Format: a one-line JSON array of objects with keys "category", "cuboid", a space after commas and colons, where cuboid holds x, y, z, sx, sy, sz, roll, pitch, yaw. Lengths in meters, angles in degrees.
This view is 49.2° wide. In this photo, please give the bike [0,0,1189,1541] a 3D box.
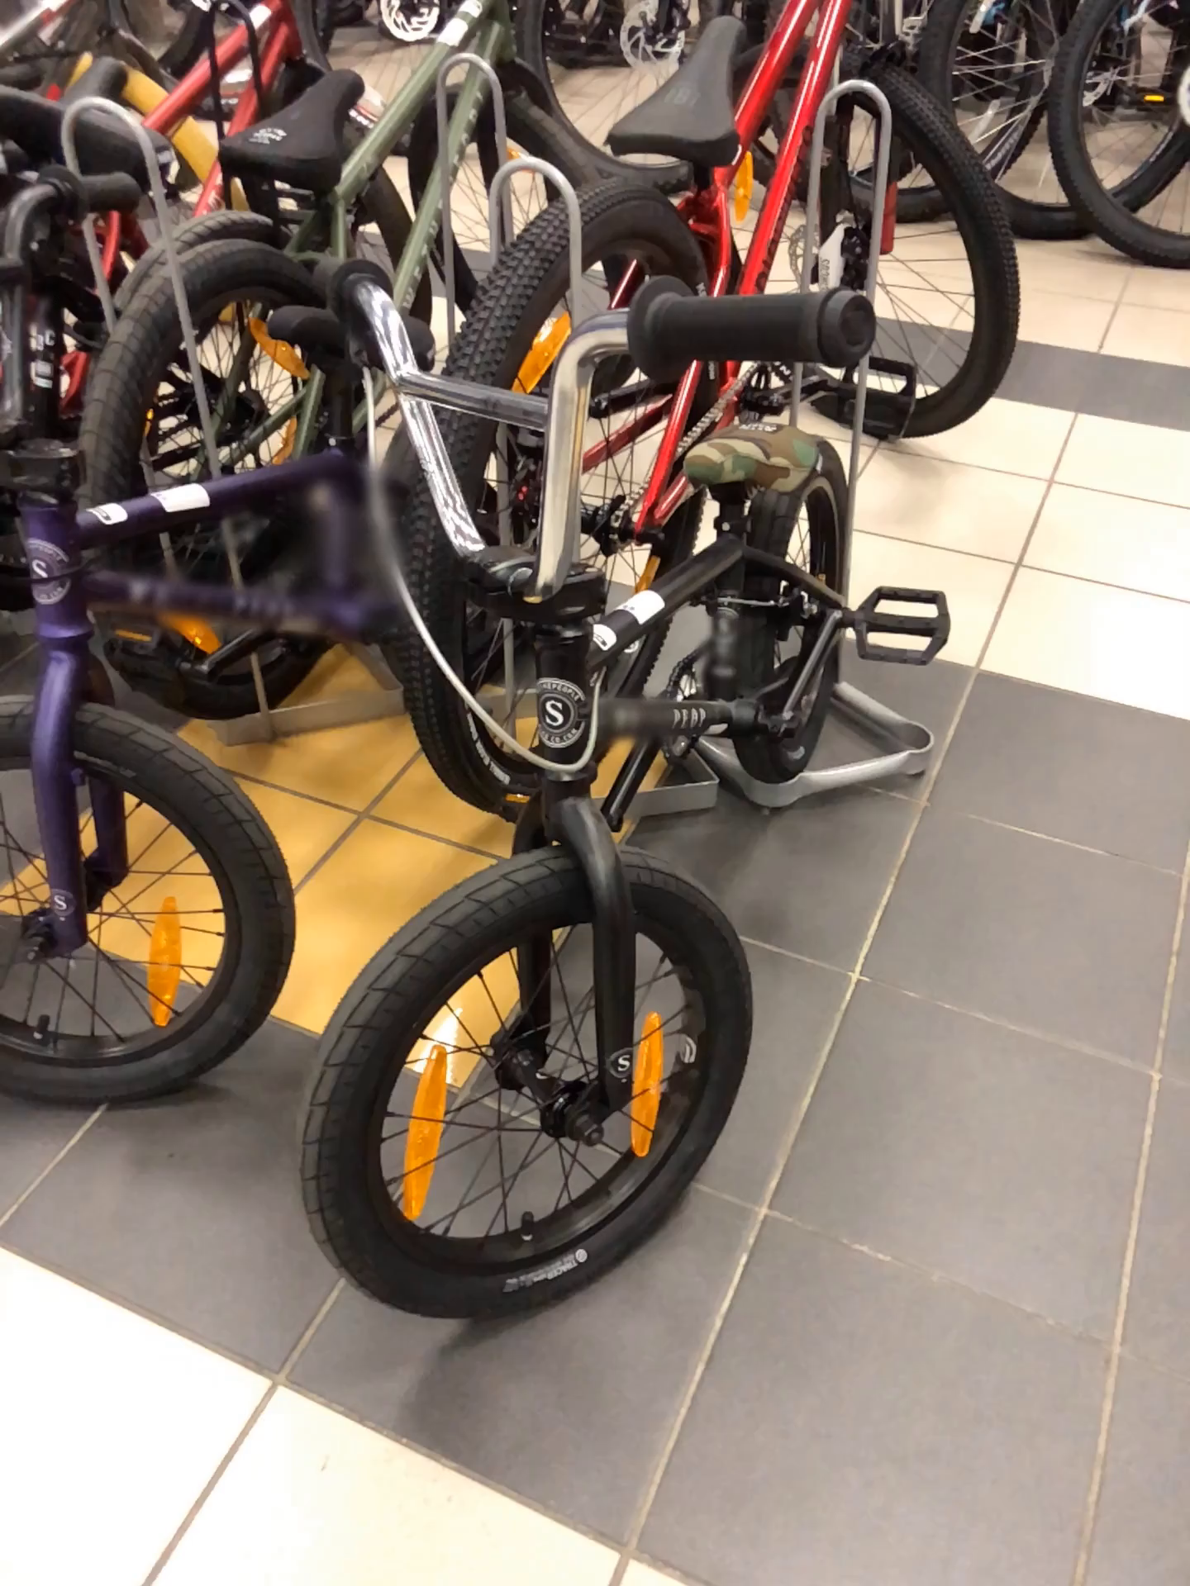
[{"category": "bike", "cuboid": [0.079, -0.194, 1.123, 0.676, 0.810, 1.076, 18, 41, 21]}]
